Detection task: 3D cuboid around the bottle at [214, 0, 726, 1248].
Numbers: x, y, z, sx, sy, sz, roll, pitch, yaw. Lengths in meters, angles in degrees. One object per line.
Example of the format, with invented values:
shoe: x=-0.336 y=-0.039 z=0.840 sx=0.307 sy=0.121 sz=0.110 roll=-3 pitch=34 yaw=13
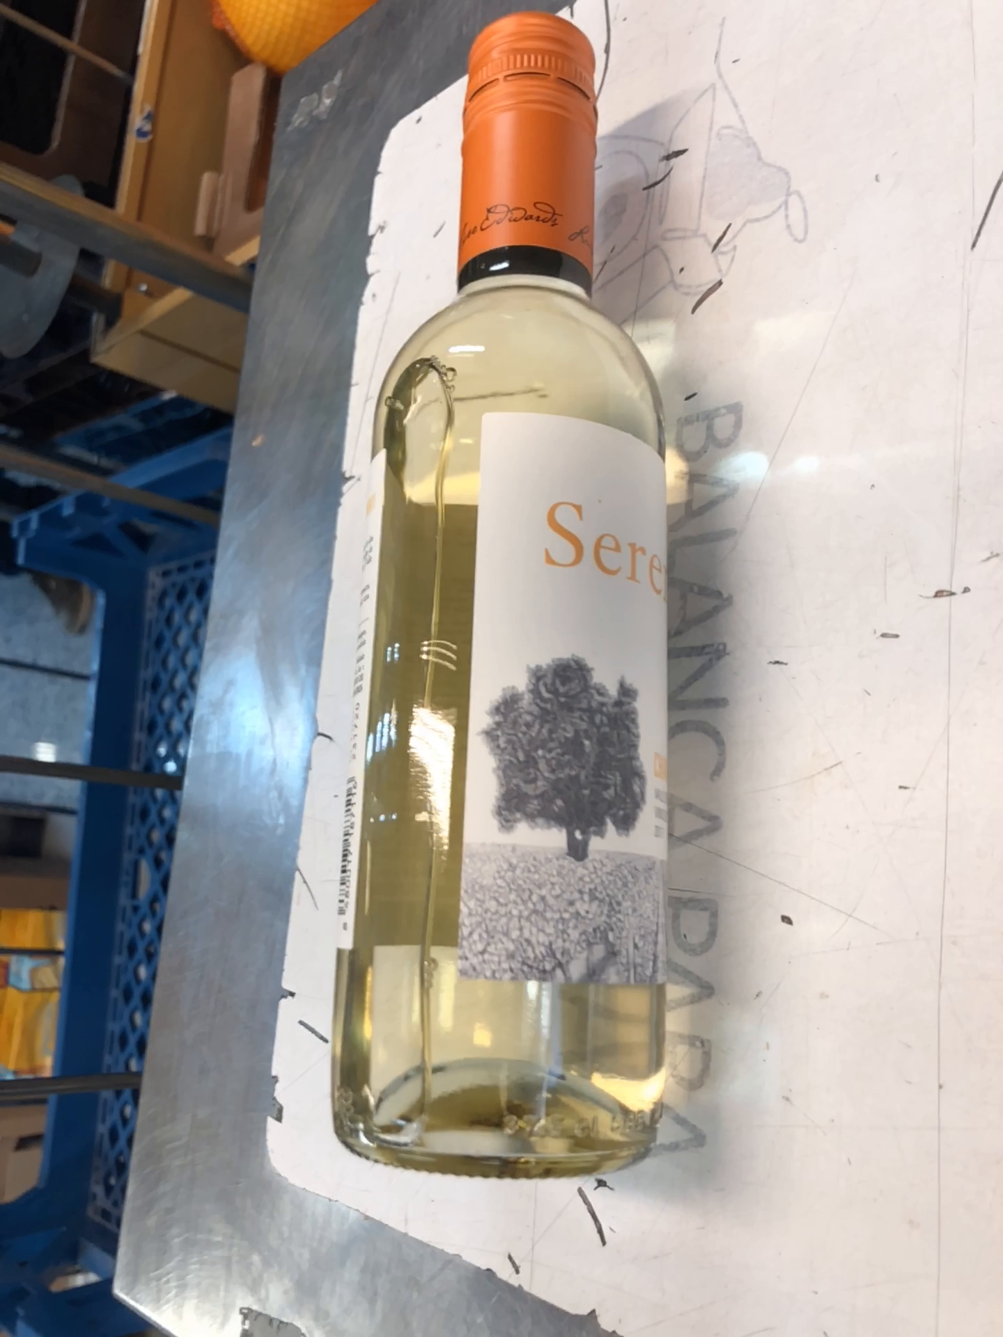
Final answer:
bottle: x=0.003 y=-0.040 z=0.235 sx=0.070 sy=0.070 sz=0.270 roll=-3 pitch=77 yaw=24
